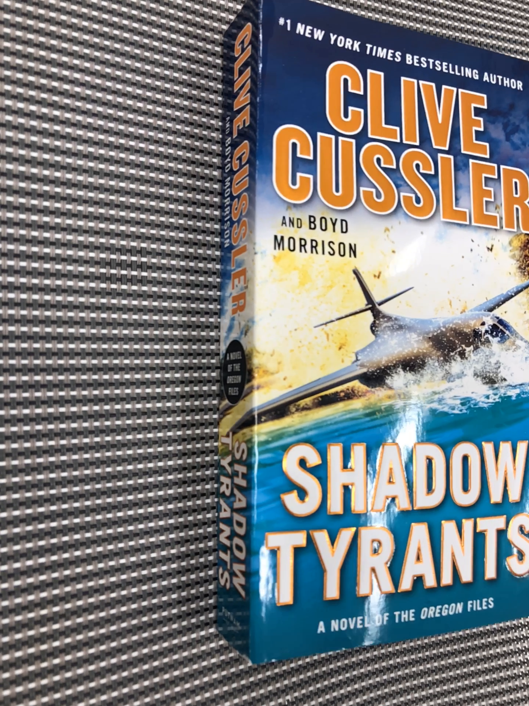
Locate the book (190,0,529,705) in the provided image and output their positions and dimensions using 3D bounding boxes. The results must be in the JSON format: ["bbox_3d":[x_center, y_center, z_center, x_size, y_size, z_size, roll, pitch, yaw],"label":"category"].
[{"bbox_3d":[0.046,-0.004,0.193,0.120,0.060,0.180,4,84,-23],"label":"book"}]
